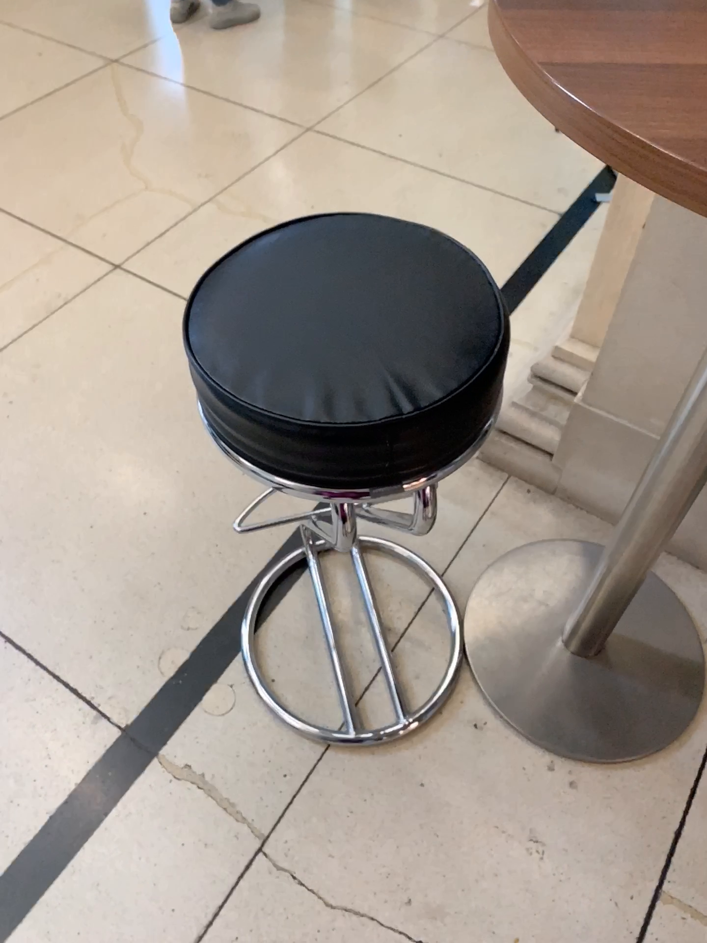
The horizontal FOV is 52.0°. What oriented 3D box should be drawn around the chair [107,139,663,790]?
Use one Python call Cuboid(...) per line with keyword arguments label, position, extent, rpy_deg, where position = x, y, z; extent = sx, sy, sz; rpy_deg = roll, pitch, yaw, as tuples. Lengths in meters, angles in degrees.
Cuboid(label="chair", position=(-0.004, 0.047, 1.109), extent=(0.464, 0.813, 0.507), rpy_deg=(-14, 53, -10))
